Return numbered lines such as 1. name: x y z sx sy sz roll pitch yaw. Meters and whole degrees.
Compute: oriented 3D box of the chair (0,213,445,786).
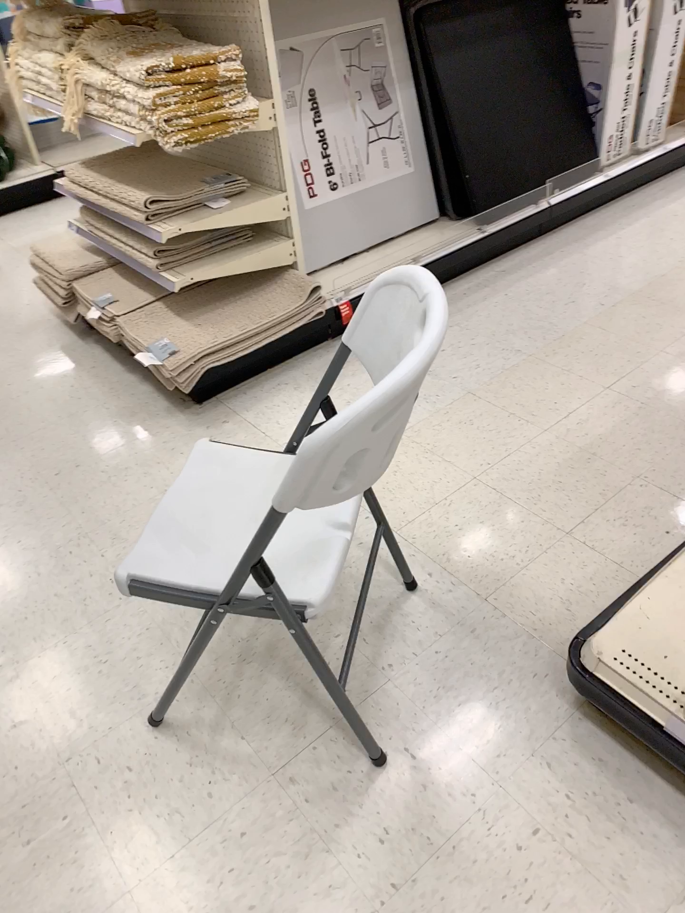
1. chair: -0.131 0.082 1.254 0.571 0.846 0.522 4 39 13
